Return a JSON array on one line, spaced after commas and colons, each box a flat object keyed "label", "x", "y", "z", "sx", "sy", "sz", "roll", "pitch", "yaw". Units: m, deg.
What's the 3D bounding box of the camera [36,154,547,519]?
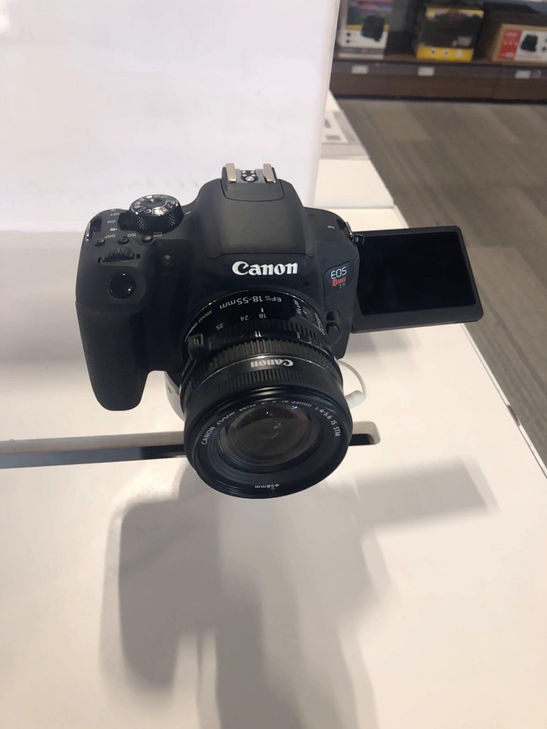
[{"label": "camera", "x": 0.023, "y": -0.019, "z": 0.263, "sx": 0.210, "sy": 0.099, "sz": 0.111, "roll": -4, "pitch": 43, "yaw": -10}]
